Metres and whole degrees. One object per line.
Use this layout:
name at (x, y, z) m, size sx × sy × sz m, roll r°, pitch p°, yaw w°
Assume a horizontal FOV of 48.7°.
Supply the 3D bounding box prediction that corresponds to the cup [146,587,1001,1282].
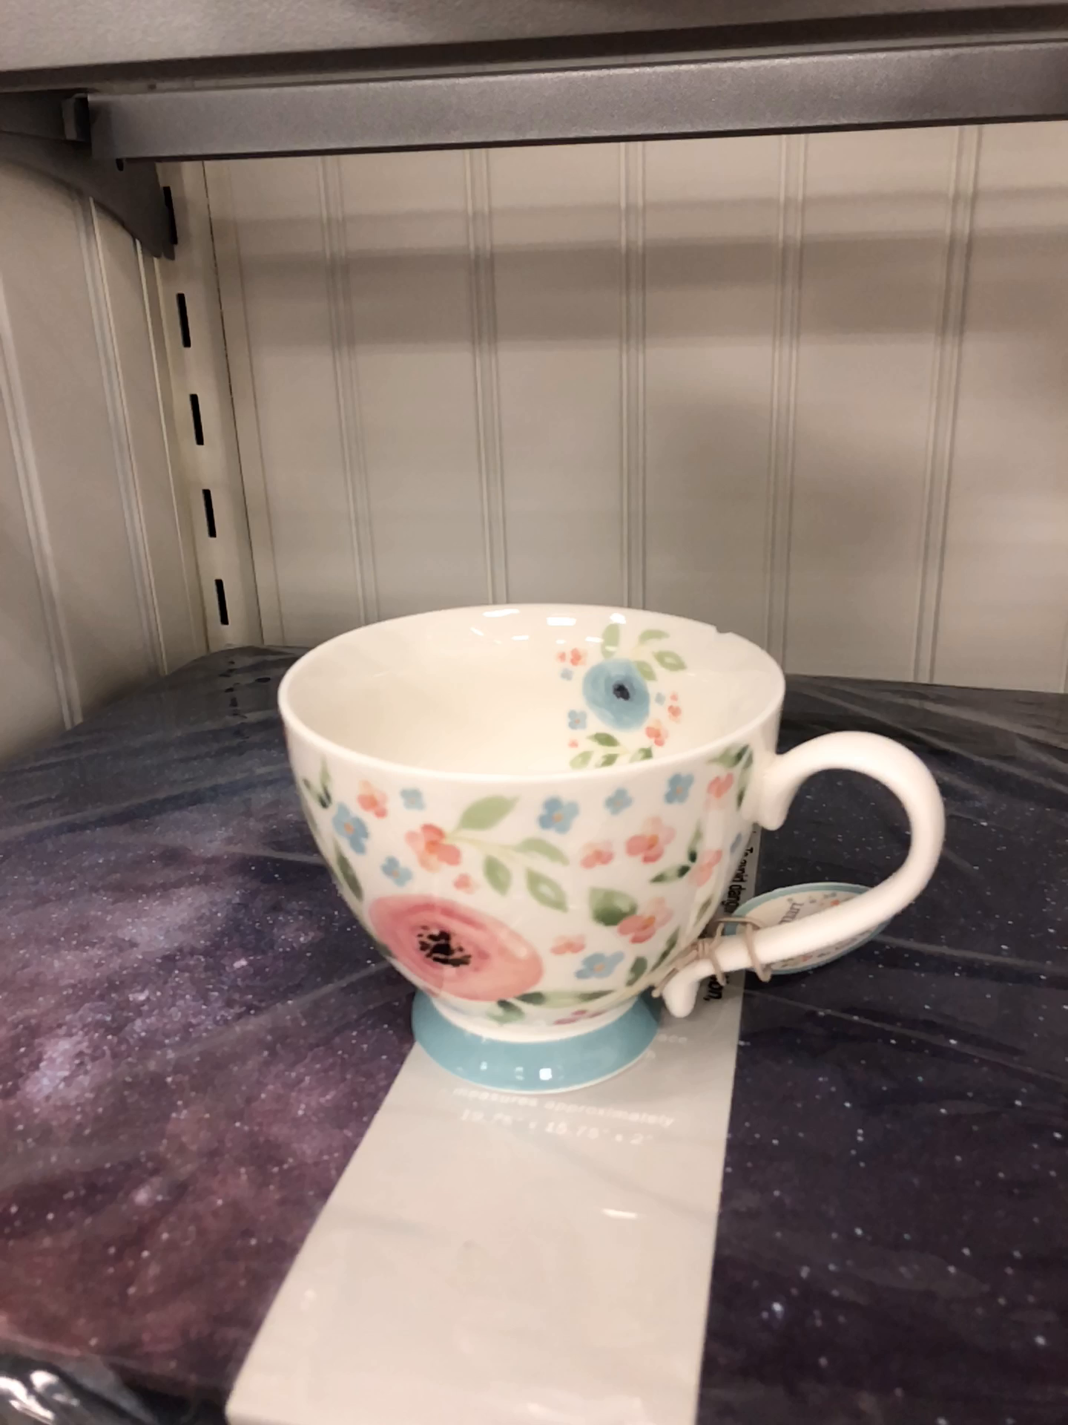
cup at (0.015, 0.031, 0.265) m, size 0.150 × 0.079 × 0.111 m, roll 8°, pitch 24°, yaw 24°
